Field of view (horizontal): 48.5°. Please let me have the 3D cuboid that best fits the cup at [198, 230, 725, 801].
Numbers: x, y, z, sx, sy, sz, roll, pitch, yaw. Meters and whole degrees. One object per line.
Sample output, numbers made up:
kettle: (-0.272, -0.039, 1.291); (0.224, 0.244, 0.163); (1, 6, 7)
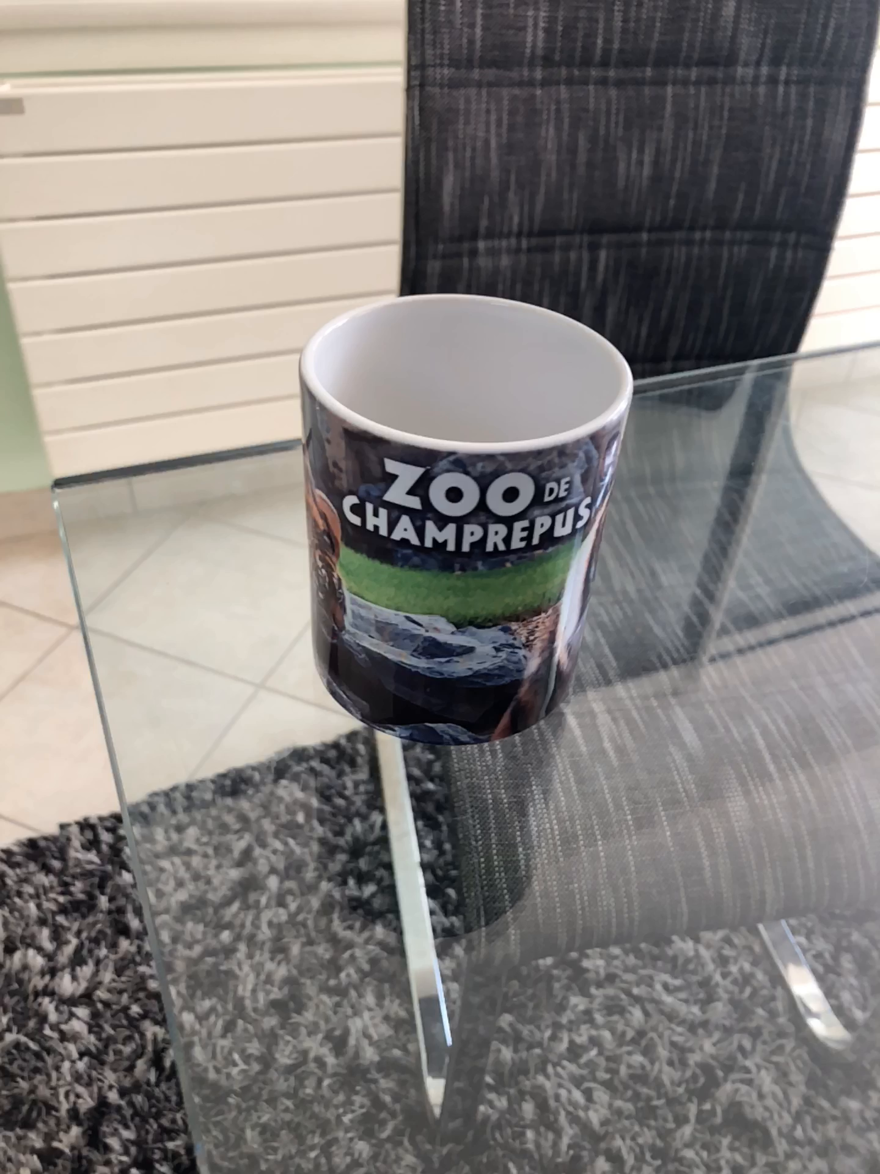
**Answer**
cup: (-0.003, -0.028, 0.267); (0.080, 0.089, 0.120); (-17, 44, -24)
